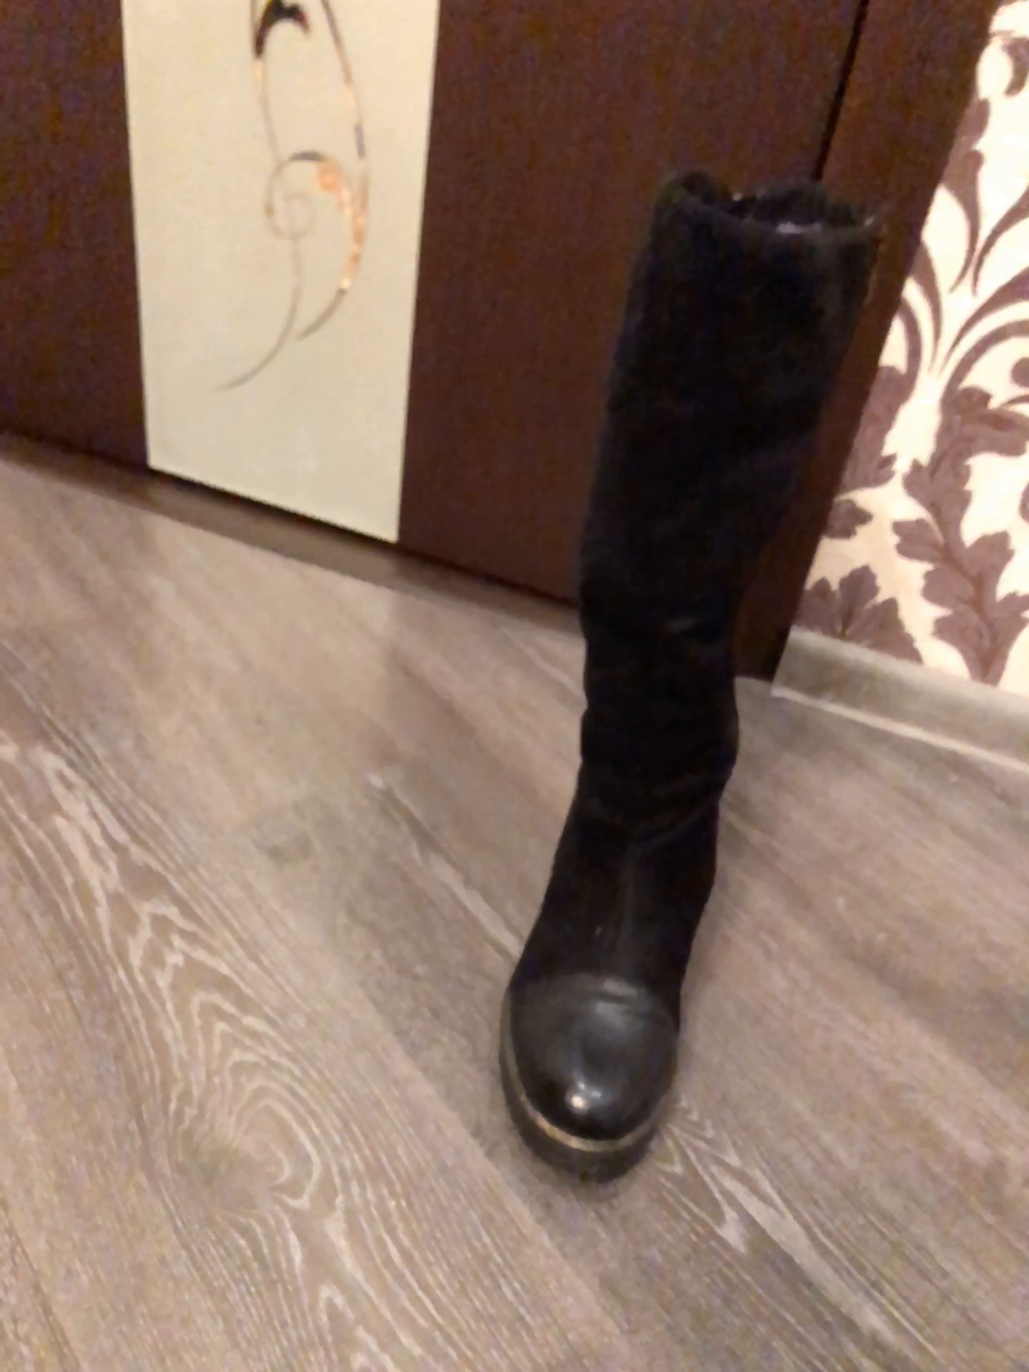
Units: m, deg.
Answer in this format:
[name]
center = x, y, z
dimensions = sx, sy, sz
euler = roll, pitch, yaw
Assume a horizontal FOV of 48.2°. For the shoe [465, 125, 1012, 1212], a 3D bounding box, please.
[shoe]
center = 0.073, -0.002, 0.519
dimensions = 0.100, 0.407, 0.252
euler = 12, 35, 4
